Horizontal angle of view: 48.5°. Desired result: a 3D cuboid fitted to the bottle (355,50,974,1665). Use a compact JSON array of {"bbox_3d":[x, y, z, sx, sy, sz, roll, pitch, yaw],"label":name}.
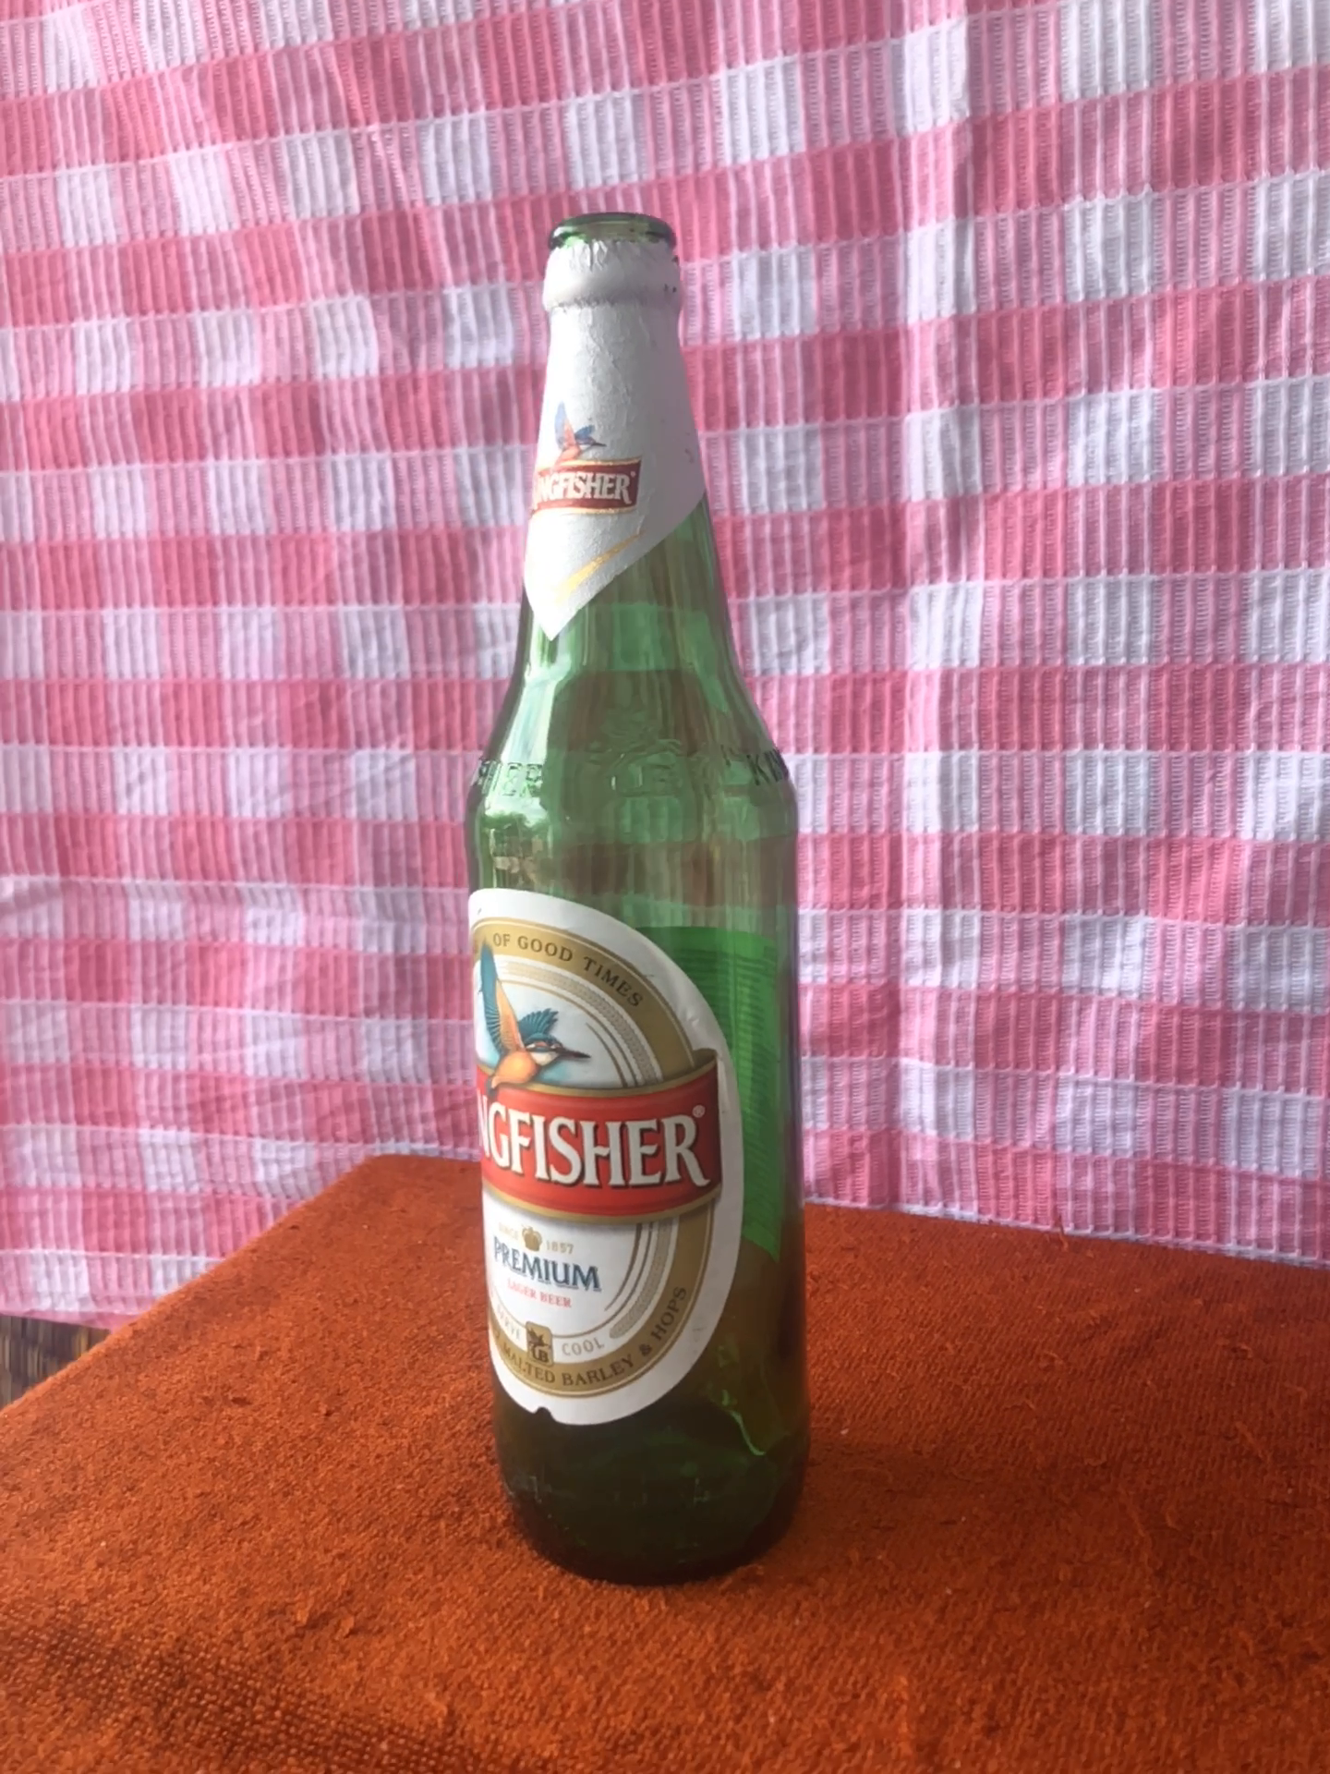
[{"bbox_3d":[0.002,-0.002,0.317,0.090,0.289,0.080,10,16,40],"label":"bottle"}]
